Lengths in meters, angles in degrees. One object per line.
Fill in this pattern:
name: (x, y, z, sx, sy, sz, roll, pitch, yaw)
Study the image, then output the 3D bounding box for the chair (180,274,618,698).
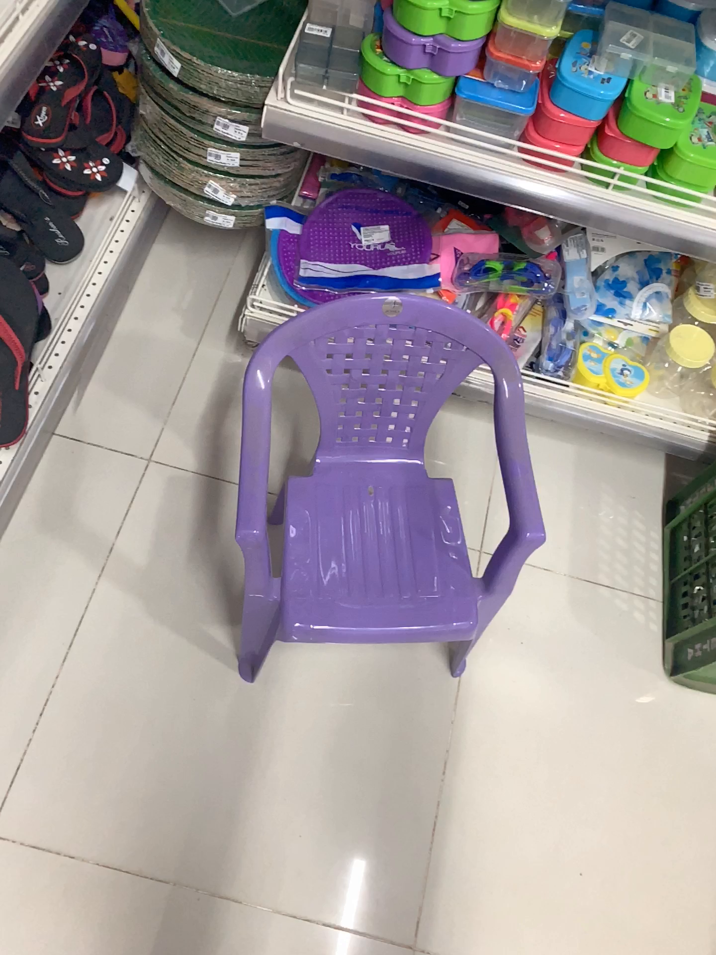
chair: (0.008, 0.040, 0.964, 0.420, 0.429, 0.400, 0, 64, -8)
